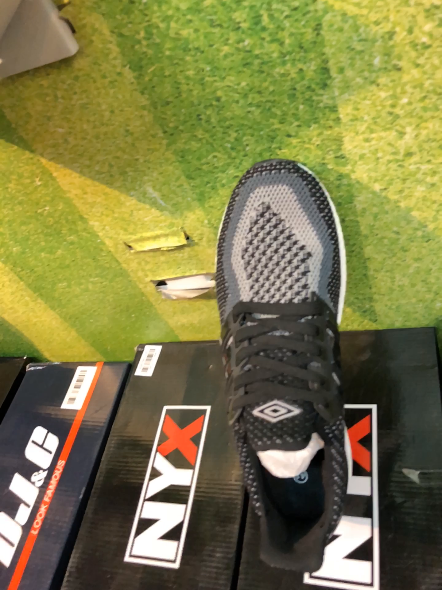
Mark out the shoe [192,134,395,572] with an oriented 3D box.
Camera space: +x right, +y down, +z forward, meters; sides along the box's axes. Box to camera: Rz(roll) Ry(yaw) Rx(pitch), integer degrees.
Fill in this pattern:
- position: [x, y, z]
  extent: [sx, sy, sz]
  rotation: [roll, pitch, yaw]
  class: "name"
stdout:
- position: [0.056, 0.037, 0.366]
  extent: [0.110, 0.122, 0.269]
  rotation: [-3, 93, 11]
  class: "shoe"
